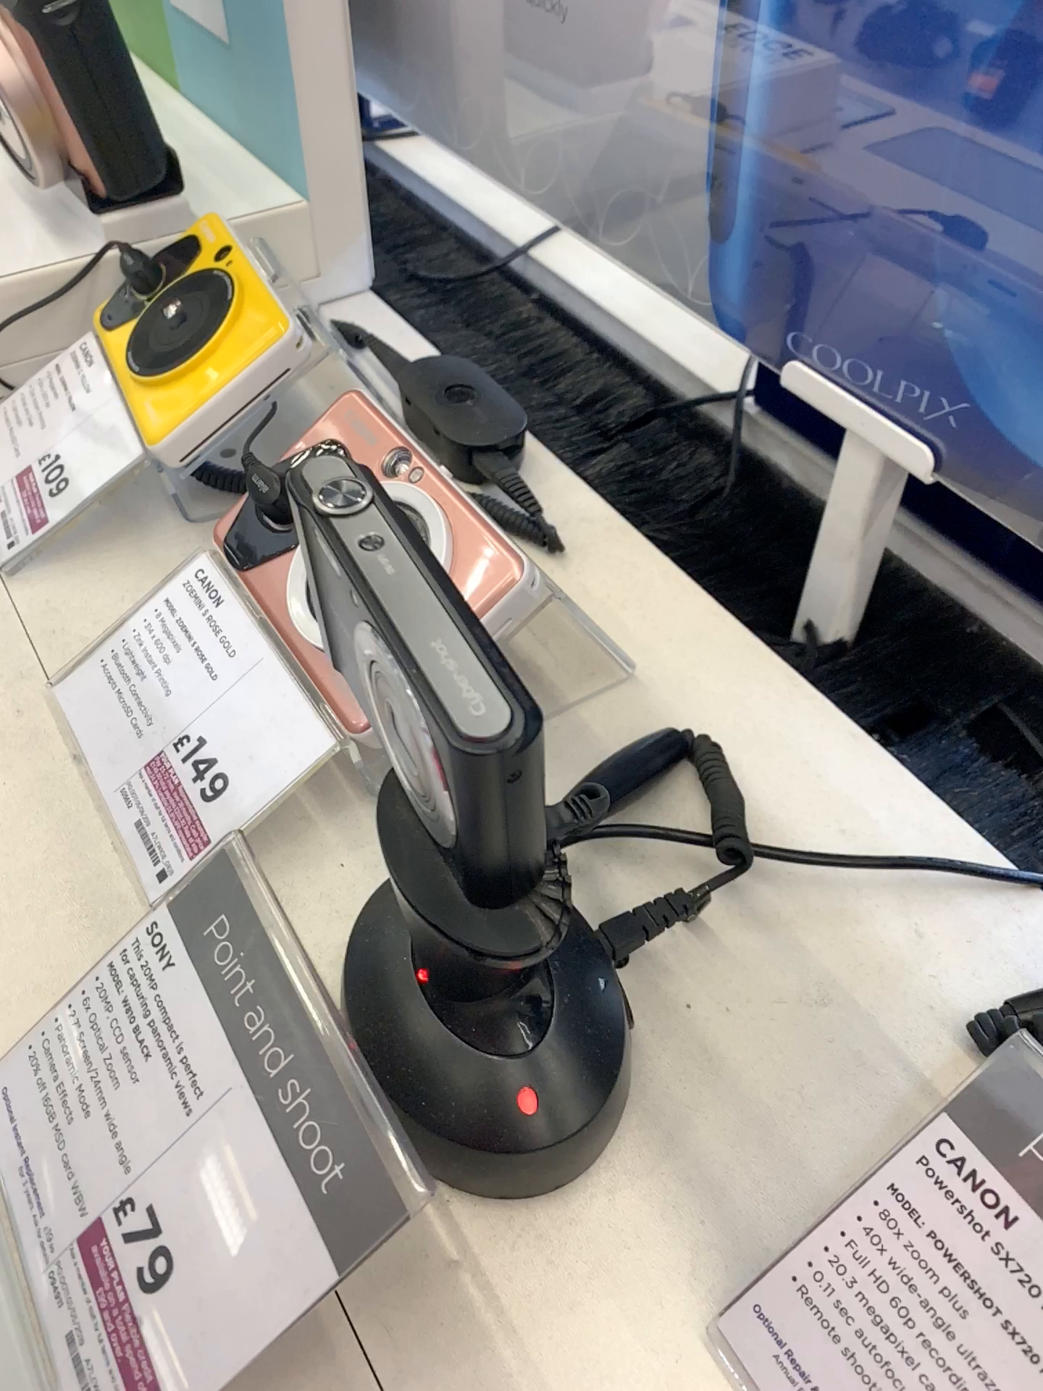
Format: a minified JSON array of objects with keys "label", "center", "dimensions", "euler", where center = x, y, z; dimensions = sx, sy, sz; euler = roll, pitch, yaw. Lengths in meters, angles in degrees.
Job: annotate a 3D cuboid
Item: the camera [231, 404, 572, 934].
[{"label":"camera","center":[-0.028,-0.009,0.234],"dimensions":[0.030,0.059,0.101],"euler":[-21,50,-19]}]
